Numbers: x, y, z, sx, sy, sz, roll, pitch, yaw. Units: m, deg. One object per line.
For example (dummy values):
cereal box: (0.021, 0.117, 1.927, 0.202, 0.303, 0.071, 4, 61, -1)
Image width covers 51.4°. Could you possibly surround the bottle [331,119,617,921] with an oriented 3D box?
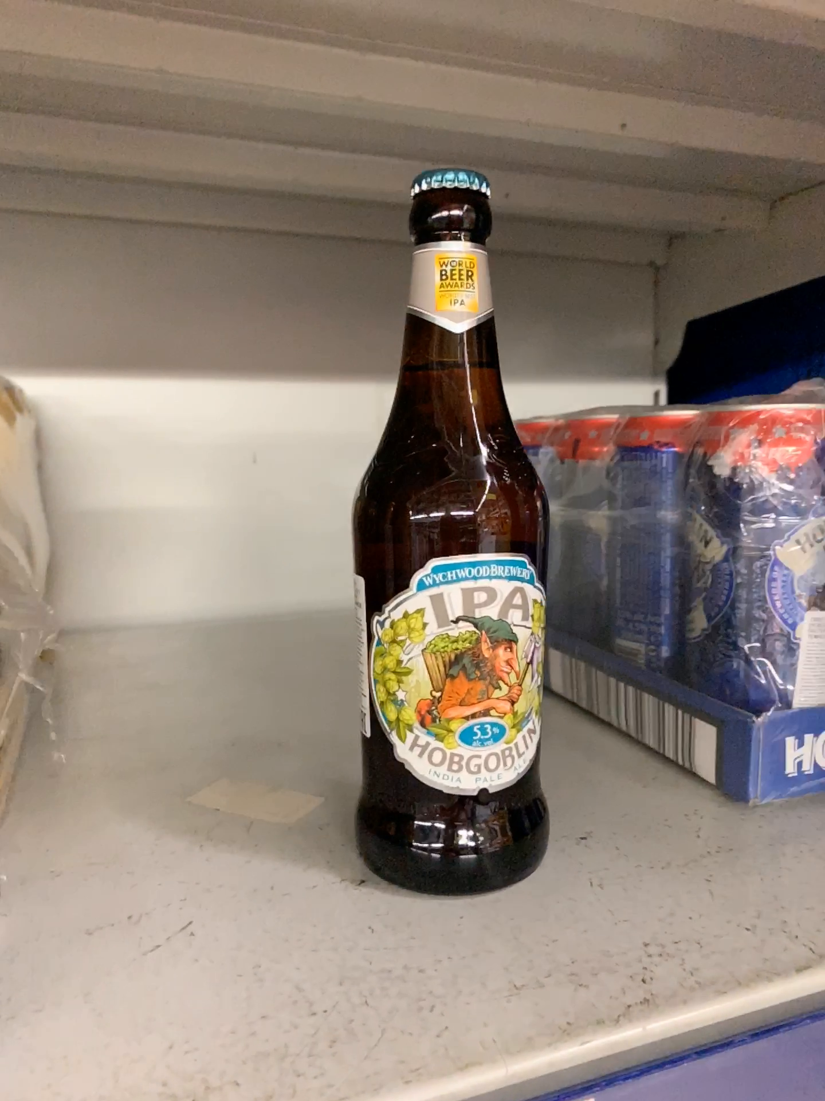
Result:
bottle: (0.018, -0.009, 0.314, 0.080, 0.250, 0.080, -1, 7, 0)
